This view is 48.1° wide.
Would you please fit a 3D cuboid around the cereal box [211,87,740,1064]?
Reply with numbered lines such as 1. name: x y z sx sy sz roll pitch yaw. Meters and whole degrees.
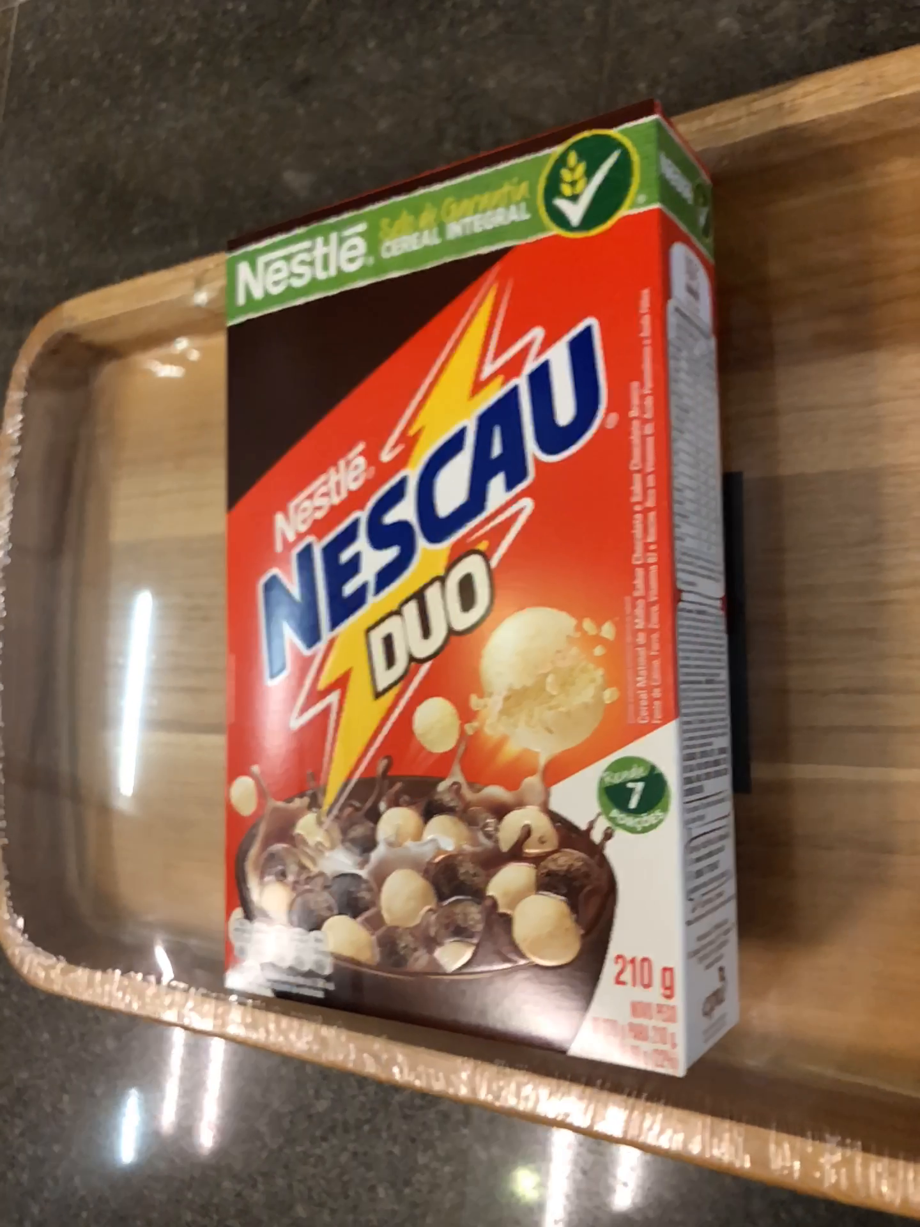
1. cereal box: -0.002 -0.009 0.327 0.160 0.050 0.250 -3 85 32
